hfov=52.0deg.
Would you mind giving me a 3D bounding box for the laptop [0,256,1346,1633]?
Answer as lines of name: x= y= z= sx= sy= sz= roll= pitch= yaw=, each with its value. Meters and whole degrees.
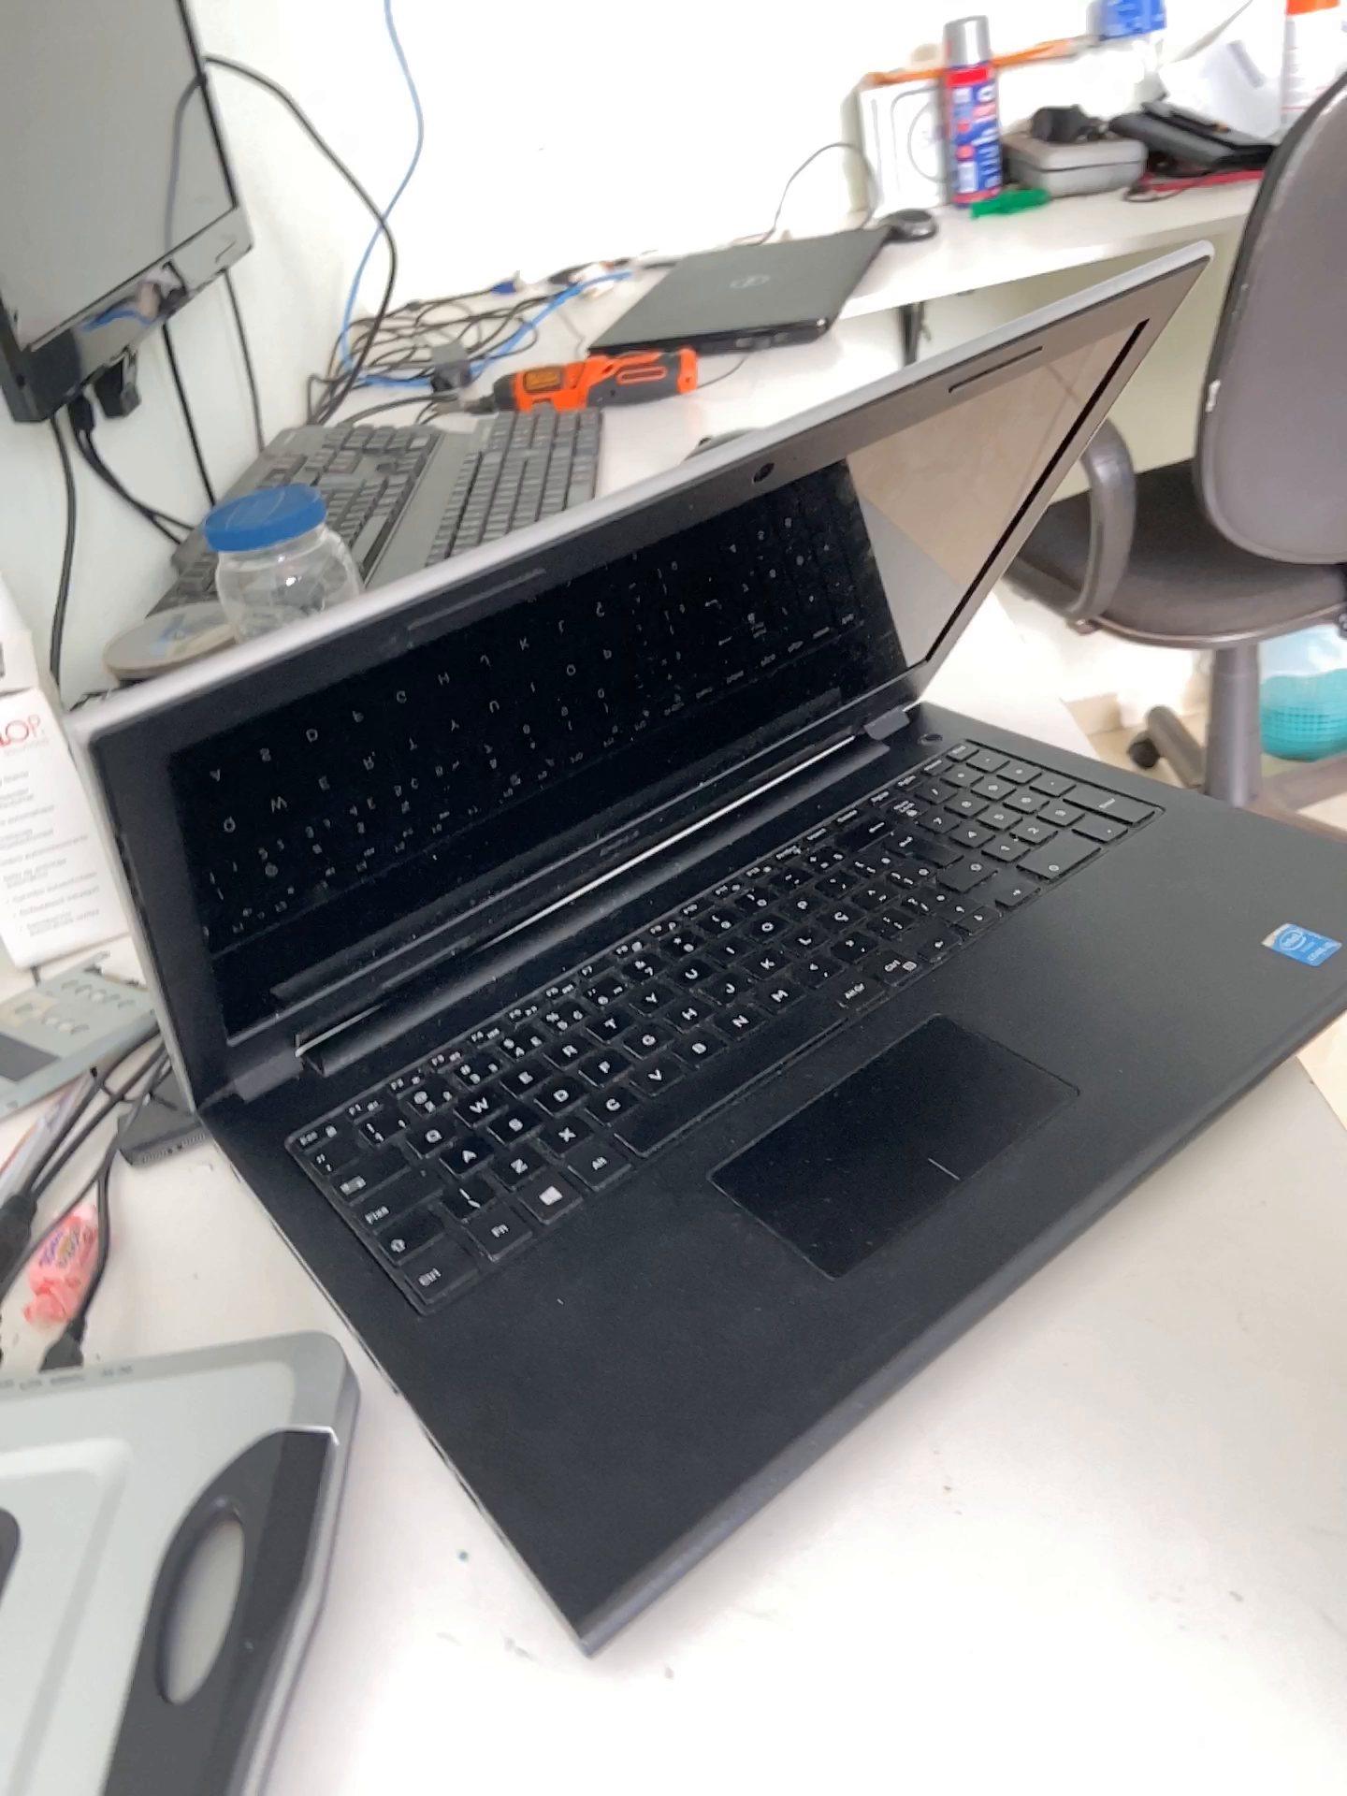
laptop: x=0.031 y=-0.046 z=0.436 sx=0.375 sy=0.204 sz=0.258 roll=-30 pitch=37 yaw=-26
